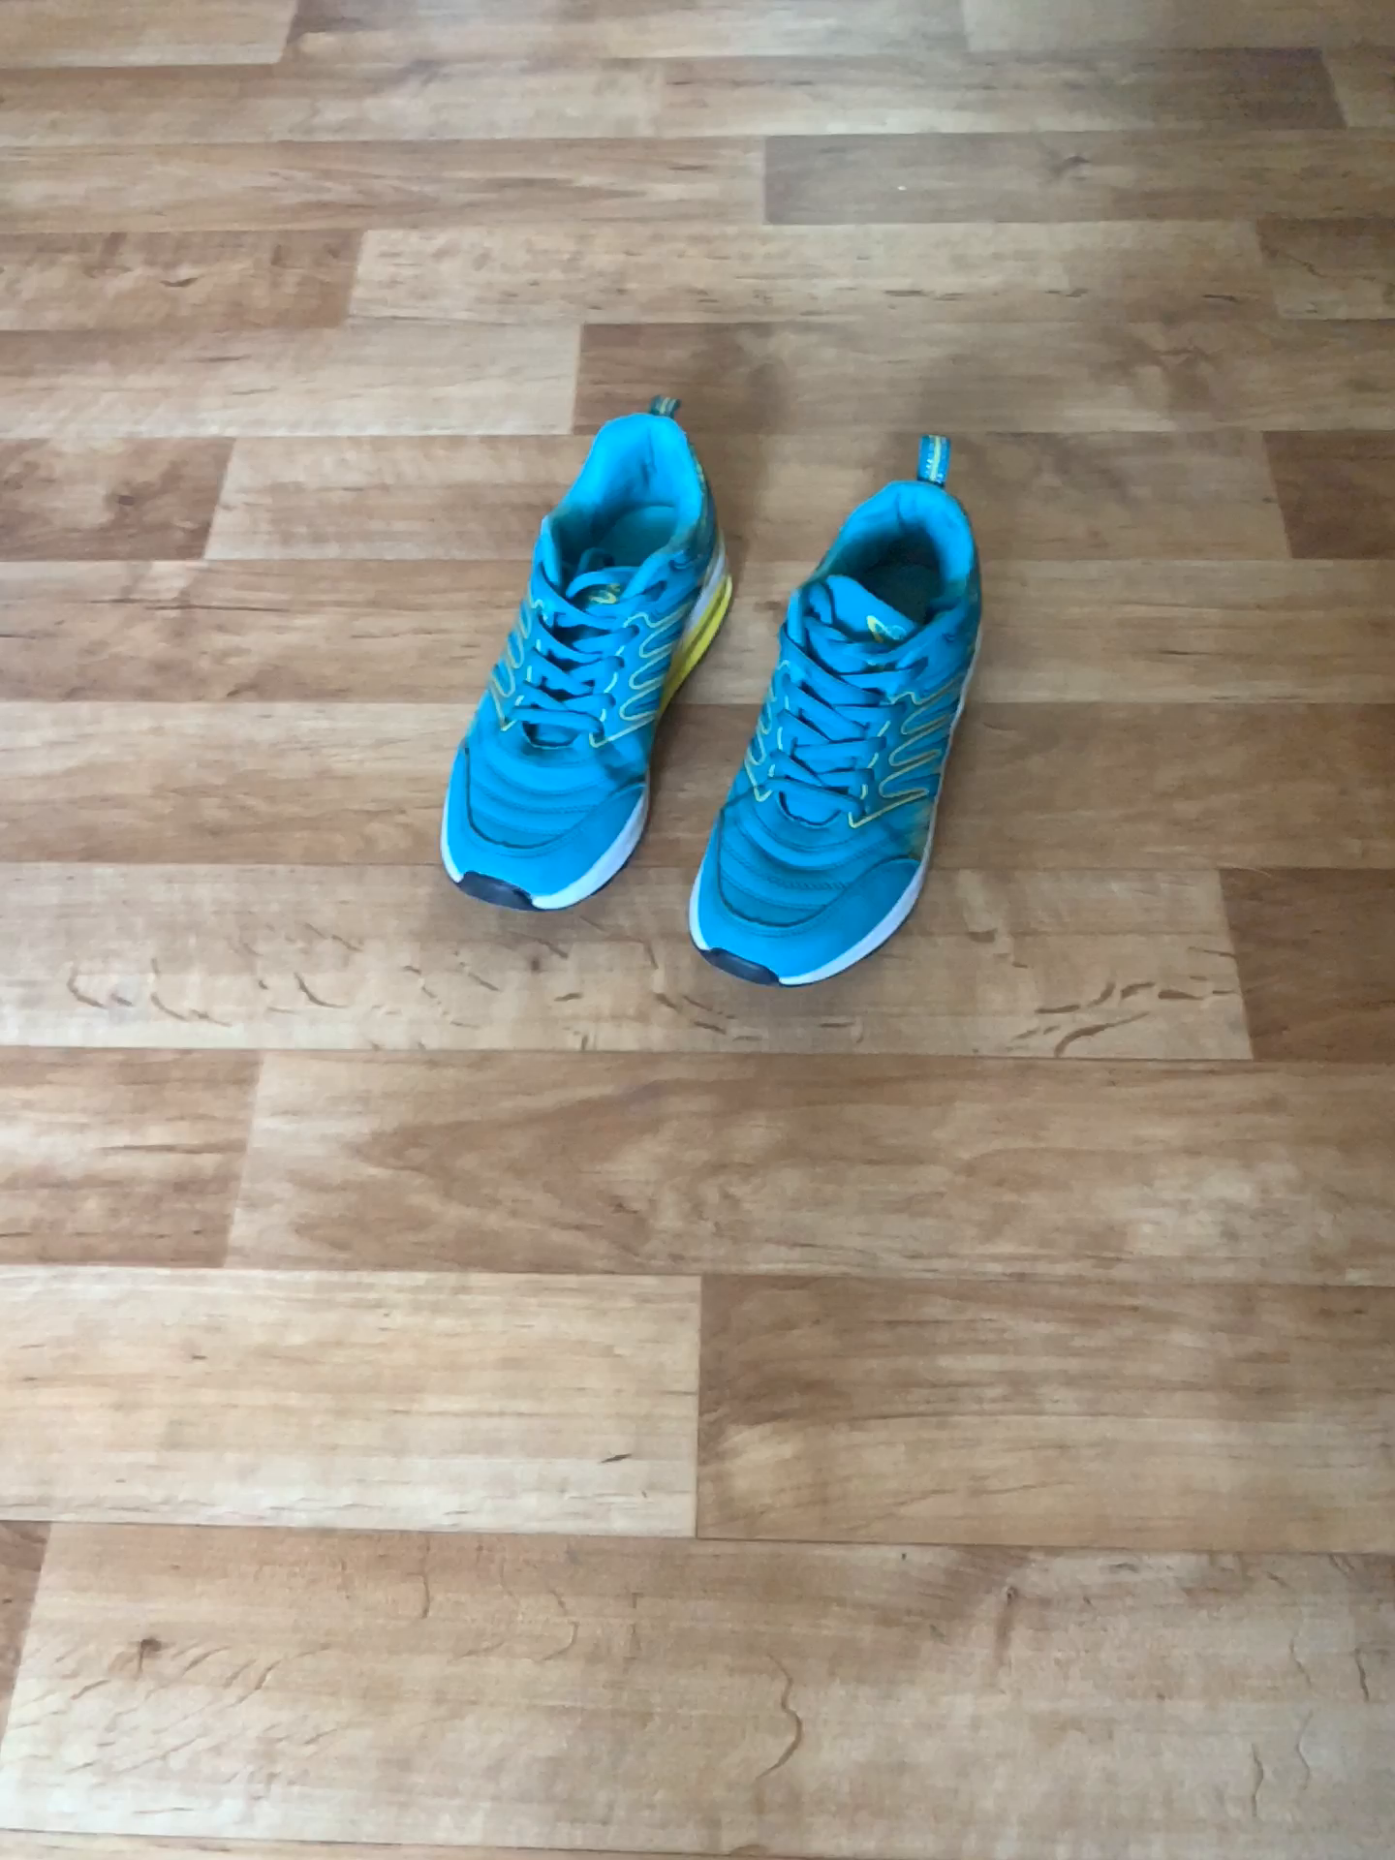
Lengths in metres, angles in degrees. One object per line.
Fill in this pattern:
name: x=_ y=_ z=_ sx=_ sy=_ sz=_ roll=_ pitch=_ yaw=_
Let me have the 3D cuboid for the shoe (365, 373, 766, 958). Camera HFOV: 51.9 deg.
shoe: x=-0.052 y=-0.125 z=0.671 sx=0.100 sy=0.120 sz=0.230 roll=16 pitch=61 yaw=6

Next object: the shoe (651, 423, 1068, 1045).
shoe: x=0.074 y=-0.091 z=0.651 sx=0.100 sy=0.120 sz=0.240 roll=20 pitch=63 yaw=11
